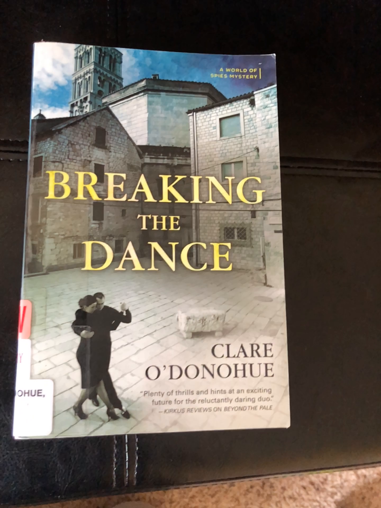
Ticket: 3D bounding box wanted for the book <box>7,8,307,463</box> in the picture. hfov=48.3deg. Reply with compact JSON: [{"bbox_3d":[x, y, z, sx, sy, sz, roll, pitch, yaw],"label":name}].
[{"bbox_3d":[-0.014,-0.011,0.229,0.140,0.040,0.210,2,82,-14],"label":"book"}]
